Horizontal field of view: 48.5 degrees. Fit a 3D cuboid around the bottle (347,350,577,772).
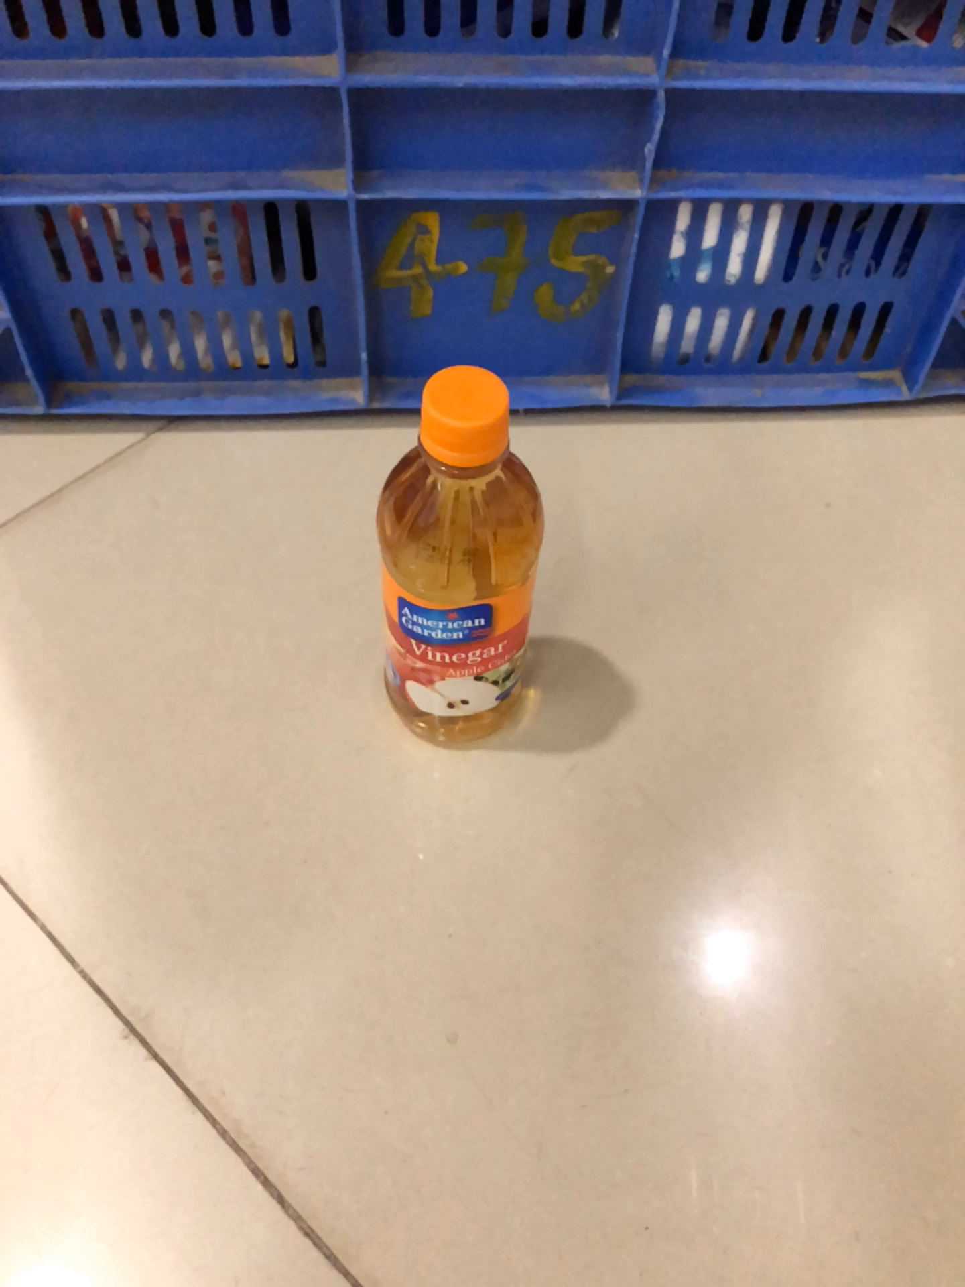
[{"bbox_3d":[-0.007,-0.024,0.432,0.070,0.169,0.070,1,54,-1],"label":"bottle"}]
